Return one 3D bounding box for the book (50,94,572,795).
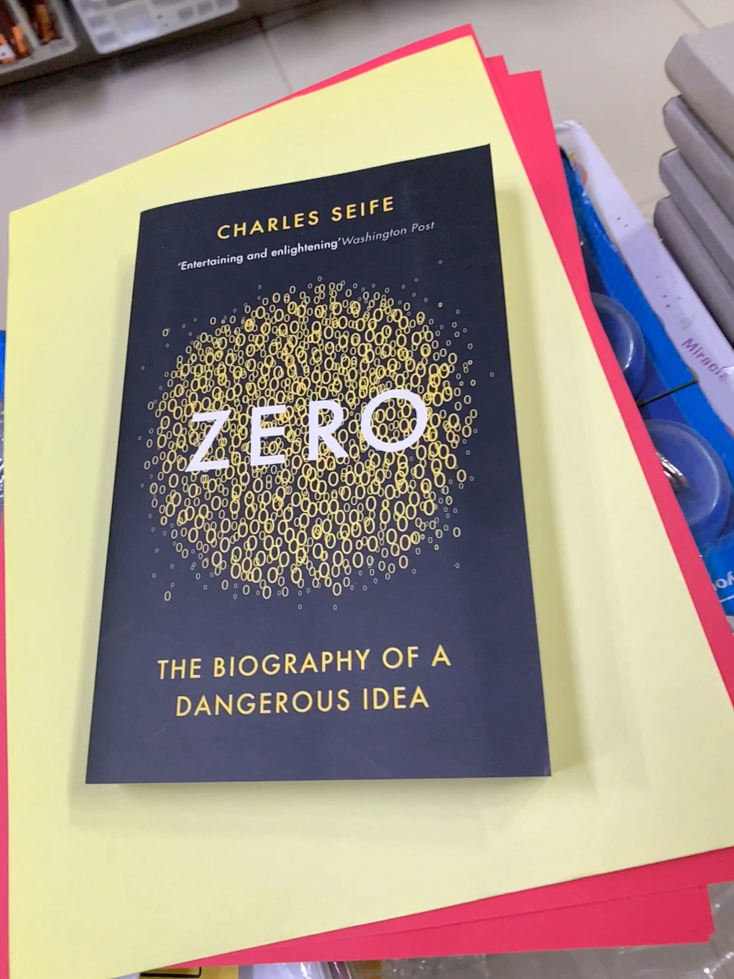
[{"bbox_3d":[-0.016,-0.016,0.235,0.130,0.040,0.201,-5,71,11],"label":"book"}]
